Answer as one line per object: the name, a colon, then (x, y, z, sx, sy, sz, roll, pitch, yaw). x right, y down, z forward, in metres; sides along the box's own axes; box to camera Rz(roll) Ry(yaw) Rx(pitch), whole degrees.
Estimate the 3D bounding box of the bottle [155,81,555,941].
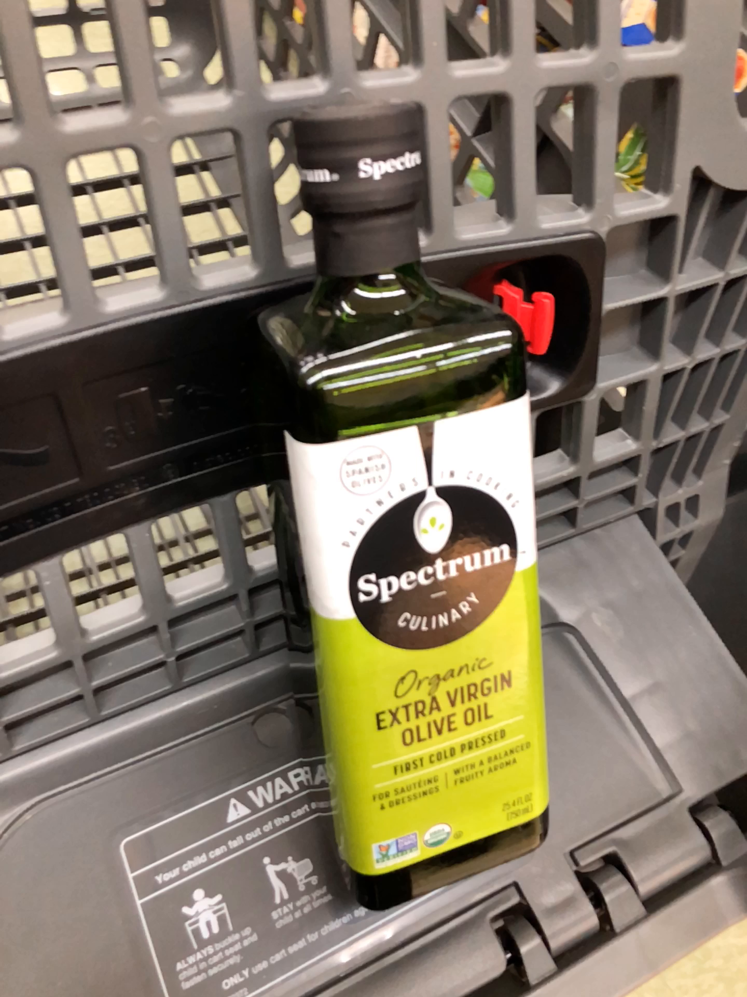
bottle: (0.002, 0.012, 0.263, 0.080, 0.250, 0.076, -5, 27, 2)
